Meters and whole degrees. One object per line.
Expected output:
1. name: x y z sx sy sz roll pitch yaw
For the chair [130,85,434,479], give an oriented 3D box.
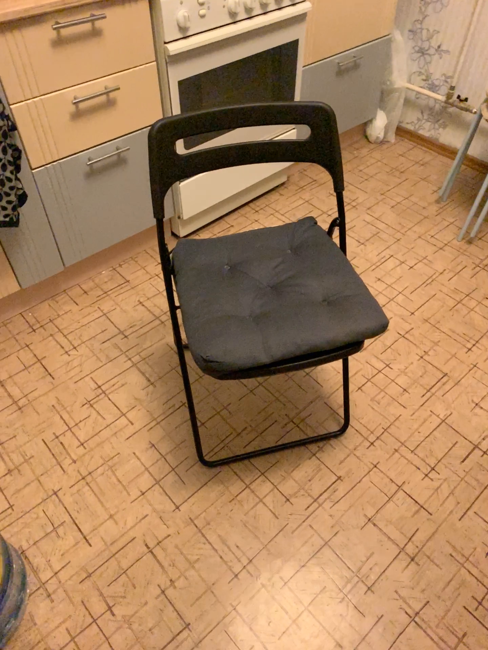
1. chair: 0.035 -0.072 1.227 0.440 0.776 0.482 -12 49 -11
